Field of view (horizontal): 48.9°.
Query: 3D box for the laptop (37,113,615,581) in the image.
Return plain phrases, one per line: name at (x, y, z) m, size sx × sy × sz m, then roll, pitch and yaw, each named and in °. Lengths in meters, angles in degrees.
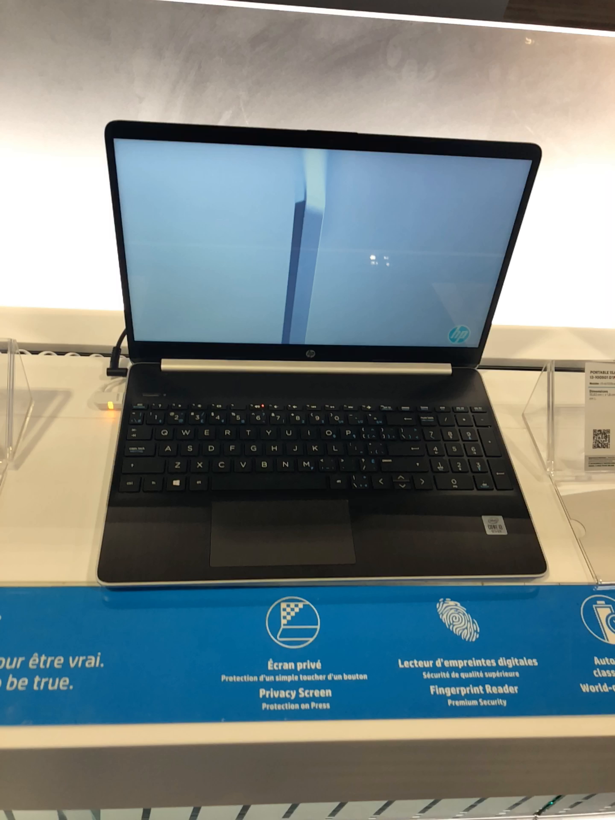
laptop at (0.020, -0.052, 0.539) m, size 0.355 × 0.221 × 0.284 m, roll 1°, pitch 48°, yaw -6°
